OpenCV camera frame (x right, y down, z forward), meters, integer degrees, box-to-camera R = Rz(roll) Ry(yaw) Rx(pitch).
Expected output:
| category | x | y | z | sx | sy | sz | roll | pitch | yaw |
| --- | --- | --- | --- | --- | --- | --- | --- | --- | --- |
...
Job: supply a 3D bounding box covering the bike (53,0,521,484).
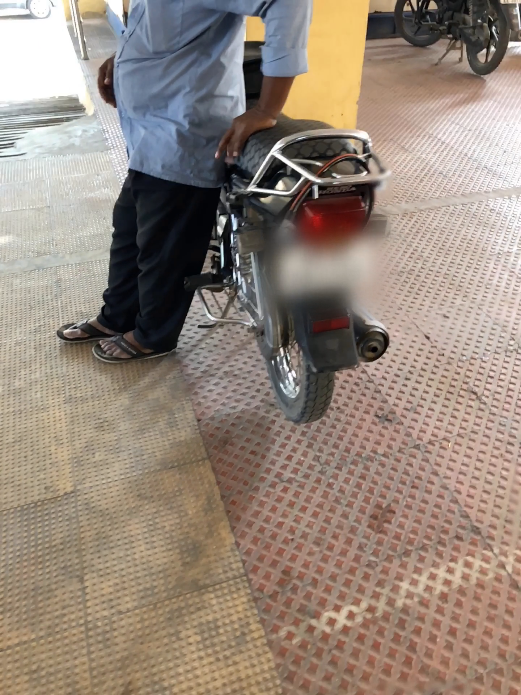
| category | x | y | z | sx | sy | sz | roll | pitch | yaw |
| --- | --- | --- | --- | --- | --- | --- | --- | --- | --- |
| bike | -0.143 | -0.608 | 1.832 | 0.678 | 1.036 | 1.683 | -11 | 41 | -14 |
